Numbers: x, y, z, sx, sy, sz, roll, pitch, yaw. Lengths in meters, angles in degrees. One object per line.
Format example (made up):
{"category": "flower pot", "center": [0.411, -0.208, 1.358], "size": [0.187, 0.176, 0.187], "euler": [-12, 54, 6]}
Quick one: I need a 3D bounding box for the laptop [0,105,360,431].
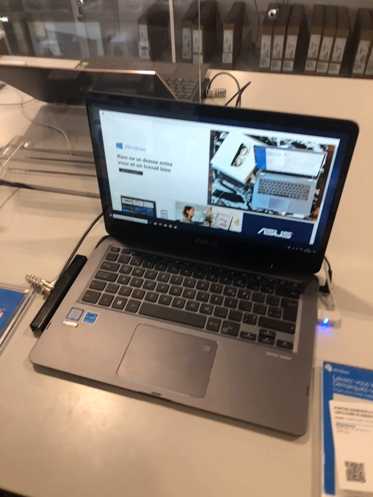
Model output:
{"category": "laptop", "center": [-0.005, 0.005, 0.444], "size": [0.302, 0.217, 0.225], "euler": [10, 45, 14]}
